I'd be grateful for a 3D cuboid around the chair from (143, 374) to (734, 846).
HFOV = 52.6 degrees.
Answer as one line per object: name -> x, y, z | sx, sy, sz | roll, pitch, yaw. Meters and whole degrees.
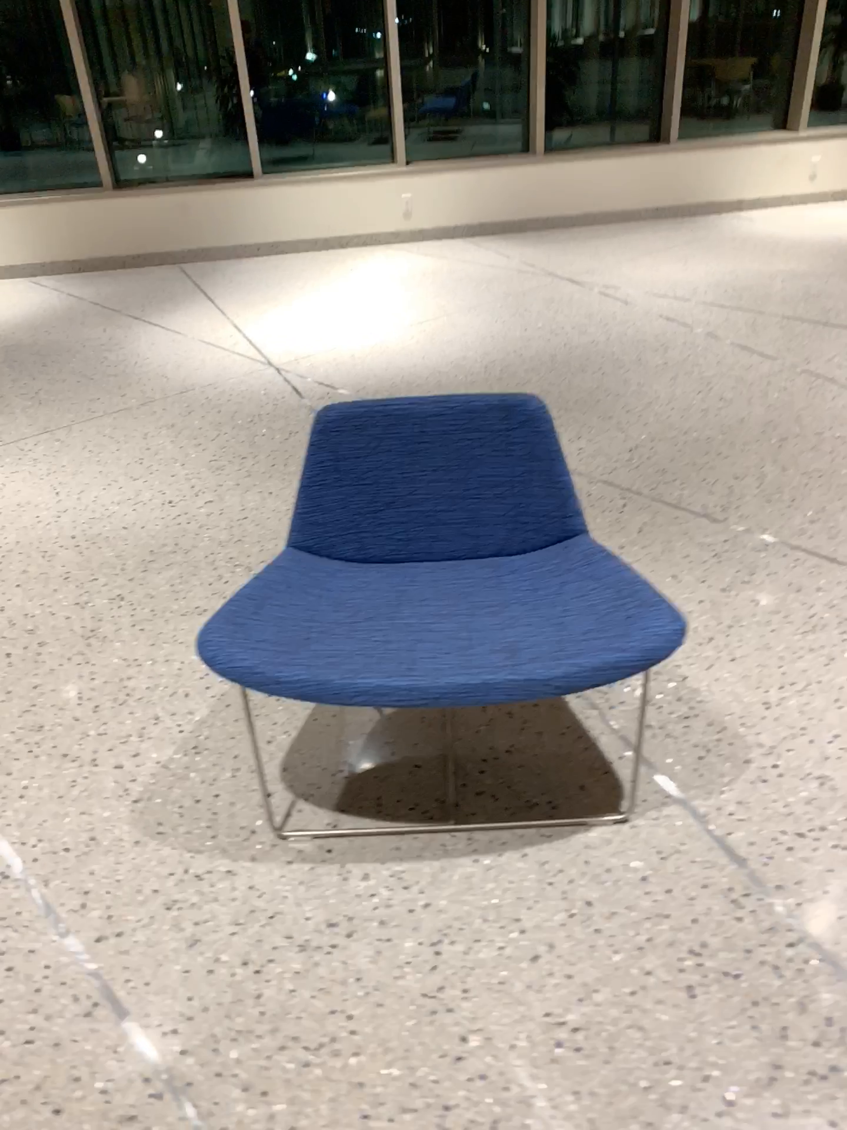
chair -> 0.038, 0.069, 1.827 | 0.941, 0.698, 0.667 | -3, 31, 1
